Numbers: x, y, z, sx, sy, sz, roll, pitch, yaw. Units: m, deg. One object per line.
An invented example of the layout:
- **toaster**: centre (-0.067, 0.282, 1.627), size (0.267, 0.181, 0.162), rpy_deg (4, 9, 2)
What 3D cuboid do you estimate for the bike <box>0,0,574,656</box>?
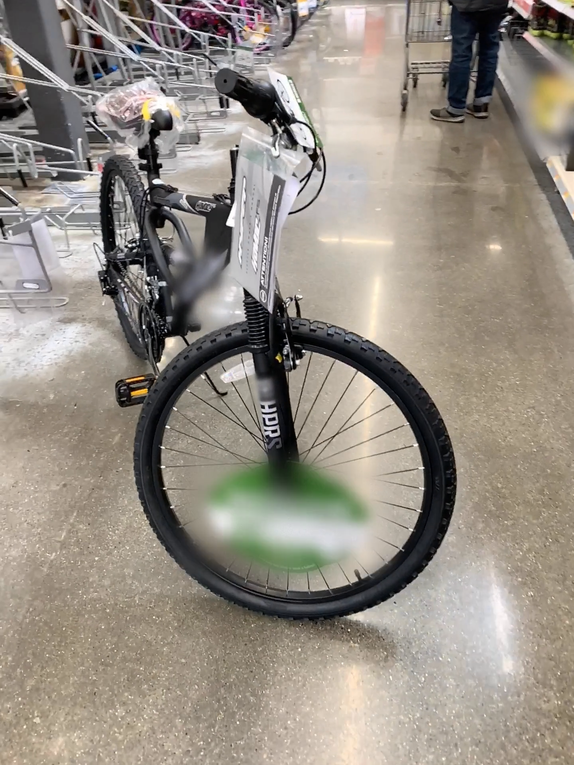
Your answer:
- **bike**: centre (-0.132, -0.347, 1.686), size (0.692, 1.089, 1.685), rpy_deg (-26, 45, -28)
